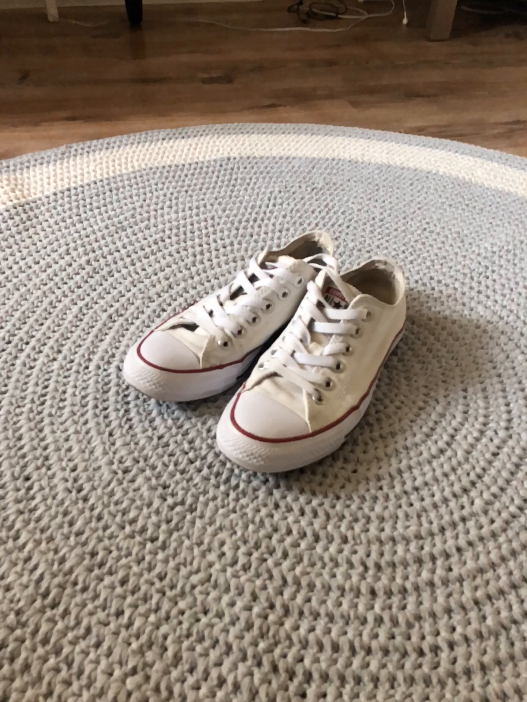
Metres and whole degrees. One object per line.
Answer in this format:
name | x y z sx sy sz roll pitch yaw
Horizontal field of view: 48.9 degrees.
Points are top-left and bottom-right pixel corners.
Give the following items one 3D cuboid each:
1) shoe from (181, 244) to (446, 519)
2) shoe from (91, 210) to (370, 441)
shoe | 0.051 0.007 0.475 0.100 0.070 0.241 25 45 24
shoe | -0.018 -0.038 0.525 0.100 0.070 0.248 30 48 28
